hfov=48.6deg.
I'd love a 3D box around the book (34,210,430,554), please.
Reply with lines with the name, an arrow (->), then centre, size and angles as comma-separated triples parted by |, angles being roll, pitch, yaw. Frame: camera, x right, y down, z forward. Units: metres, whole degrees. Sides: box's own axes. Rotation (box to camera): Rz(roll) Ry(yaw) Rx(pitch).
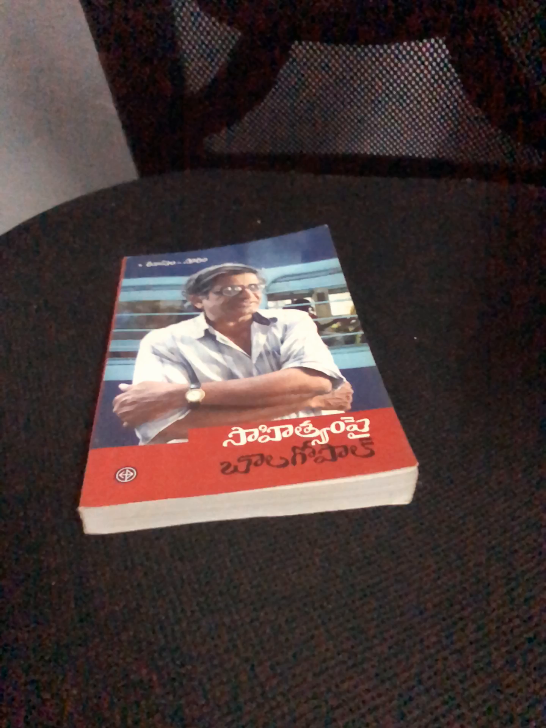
book -> -0.025, -0.013, 0.328 | 0.152, 0.030, 0.226 | -6, 39, -3
